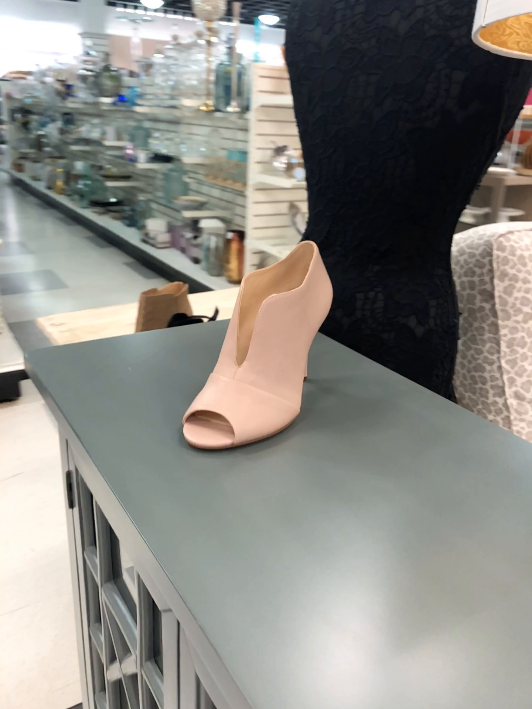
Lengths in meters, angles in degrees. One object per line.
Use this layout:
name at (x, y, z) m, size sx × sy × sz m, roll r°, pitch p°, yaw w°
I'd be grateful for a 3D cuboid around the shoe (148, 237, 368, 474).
shoe at (0.002, -0.016, 0.571) m, size 0.097 × 0.151 × 0.225 m, roll 15°, pitch 25°, yaw 29°
